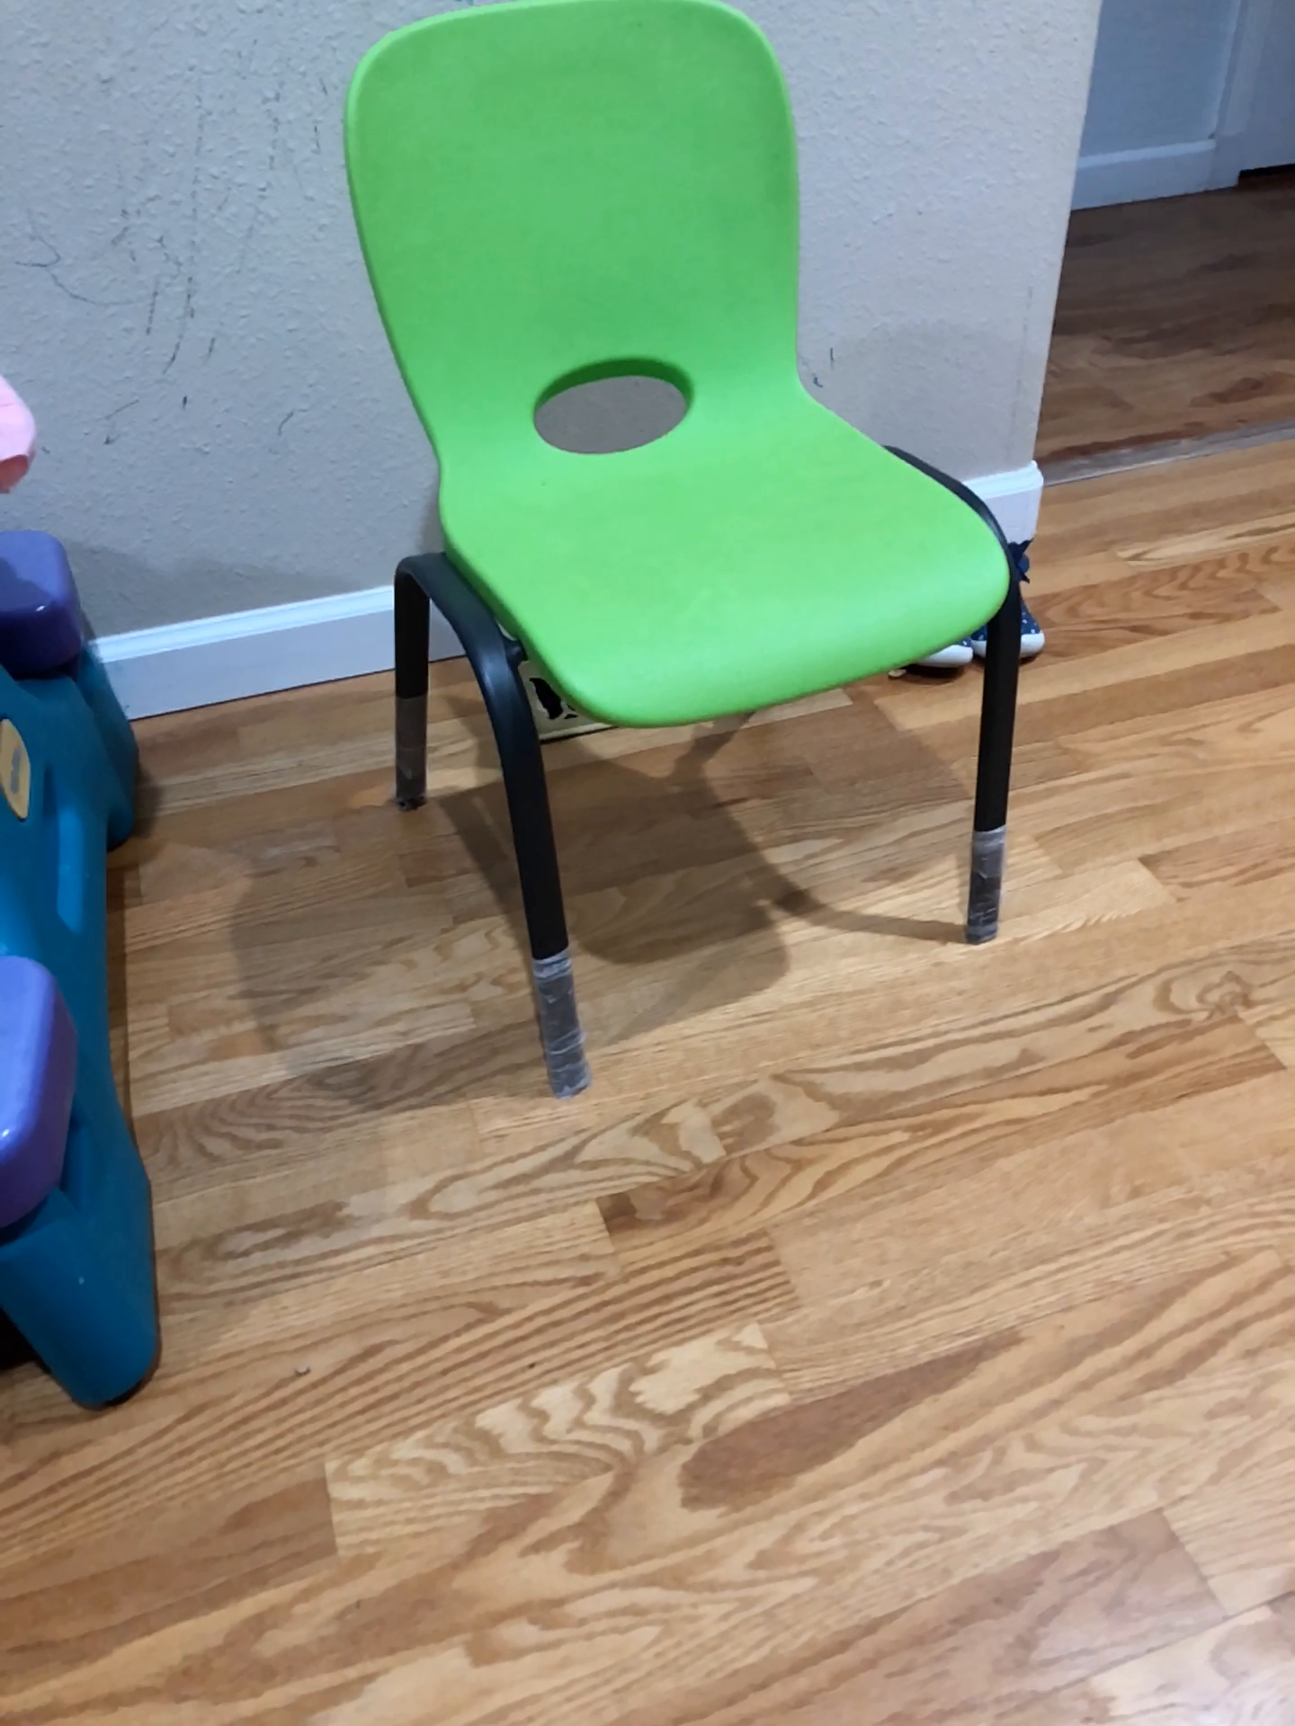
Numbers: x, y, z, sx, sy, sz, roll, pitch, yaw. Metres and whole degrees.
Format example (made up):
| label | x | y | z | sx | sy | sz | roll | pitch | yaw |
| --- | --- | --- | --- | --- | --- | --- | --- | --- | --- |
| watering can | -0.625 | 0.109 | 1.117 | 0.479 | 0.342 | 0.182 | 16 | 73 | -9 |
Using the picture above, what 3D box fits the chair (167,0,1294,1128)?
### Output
| label | x | y | z | sx | sy | sz | roll | pitch | yaw |
| --- | --- | --- | --- | --- | --- | --- | --- | --- | --- |
| chair | 0.037 | -0.257 | 0.962 | 0.511 | 0.557 | 0.482 | -17 | 42 | -17 |
